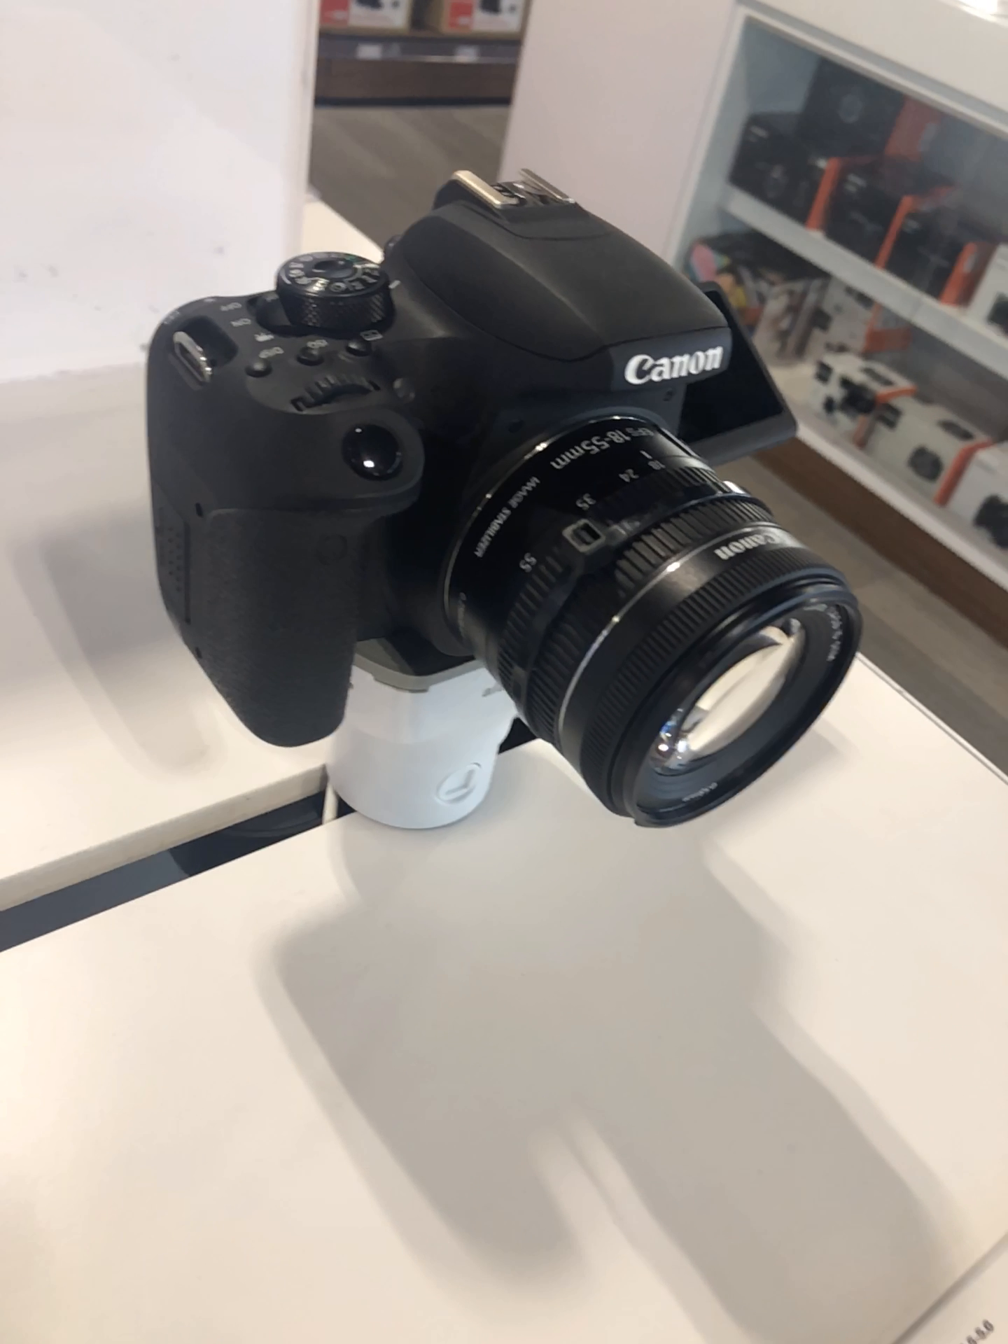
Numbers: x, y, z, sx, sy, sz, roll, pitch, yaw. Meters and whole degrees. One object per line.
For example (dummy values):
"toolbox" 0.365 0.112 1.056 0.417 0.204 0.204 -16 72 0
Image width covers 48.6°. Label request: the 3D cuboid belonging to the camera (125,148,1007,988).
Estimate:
"camera" 0.039 -0.044 0.256 0.210 0.099 0.110 -21 52 -34
